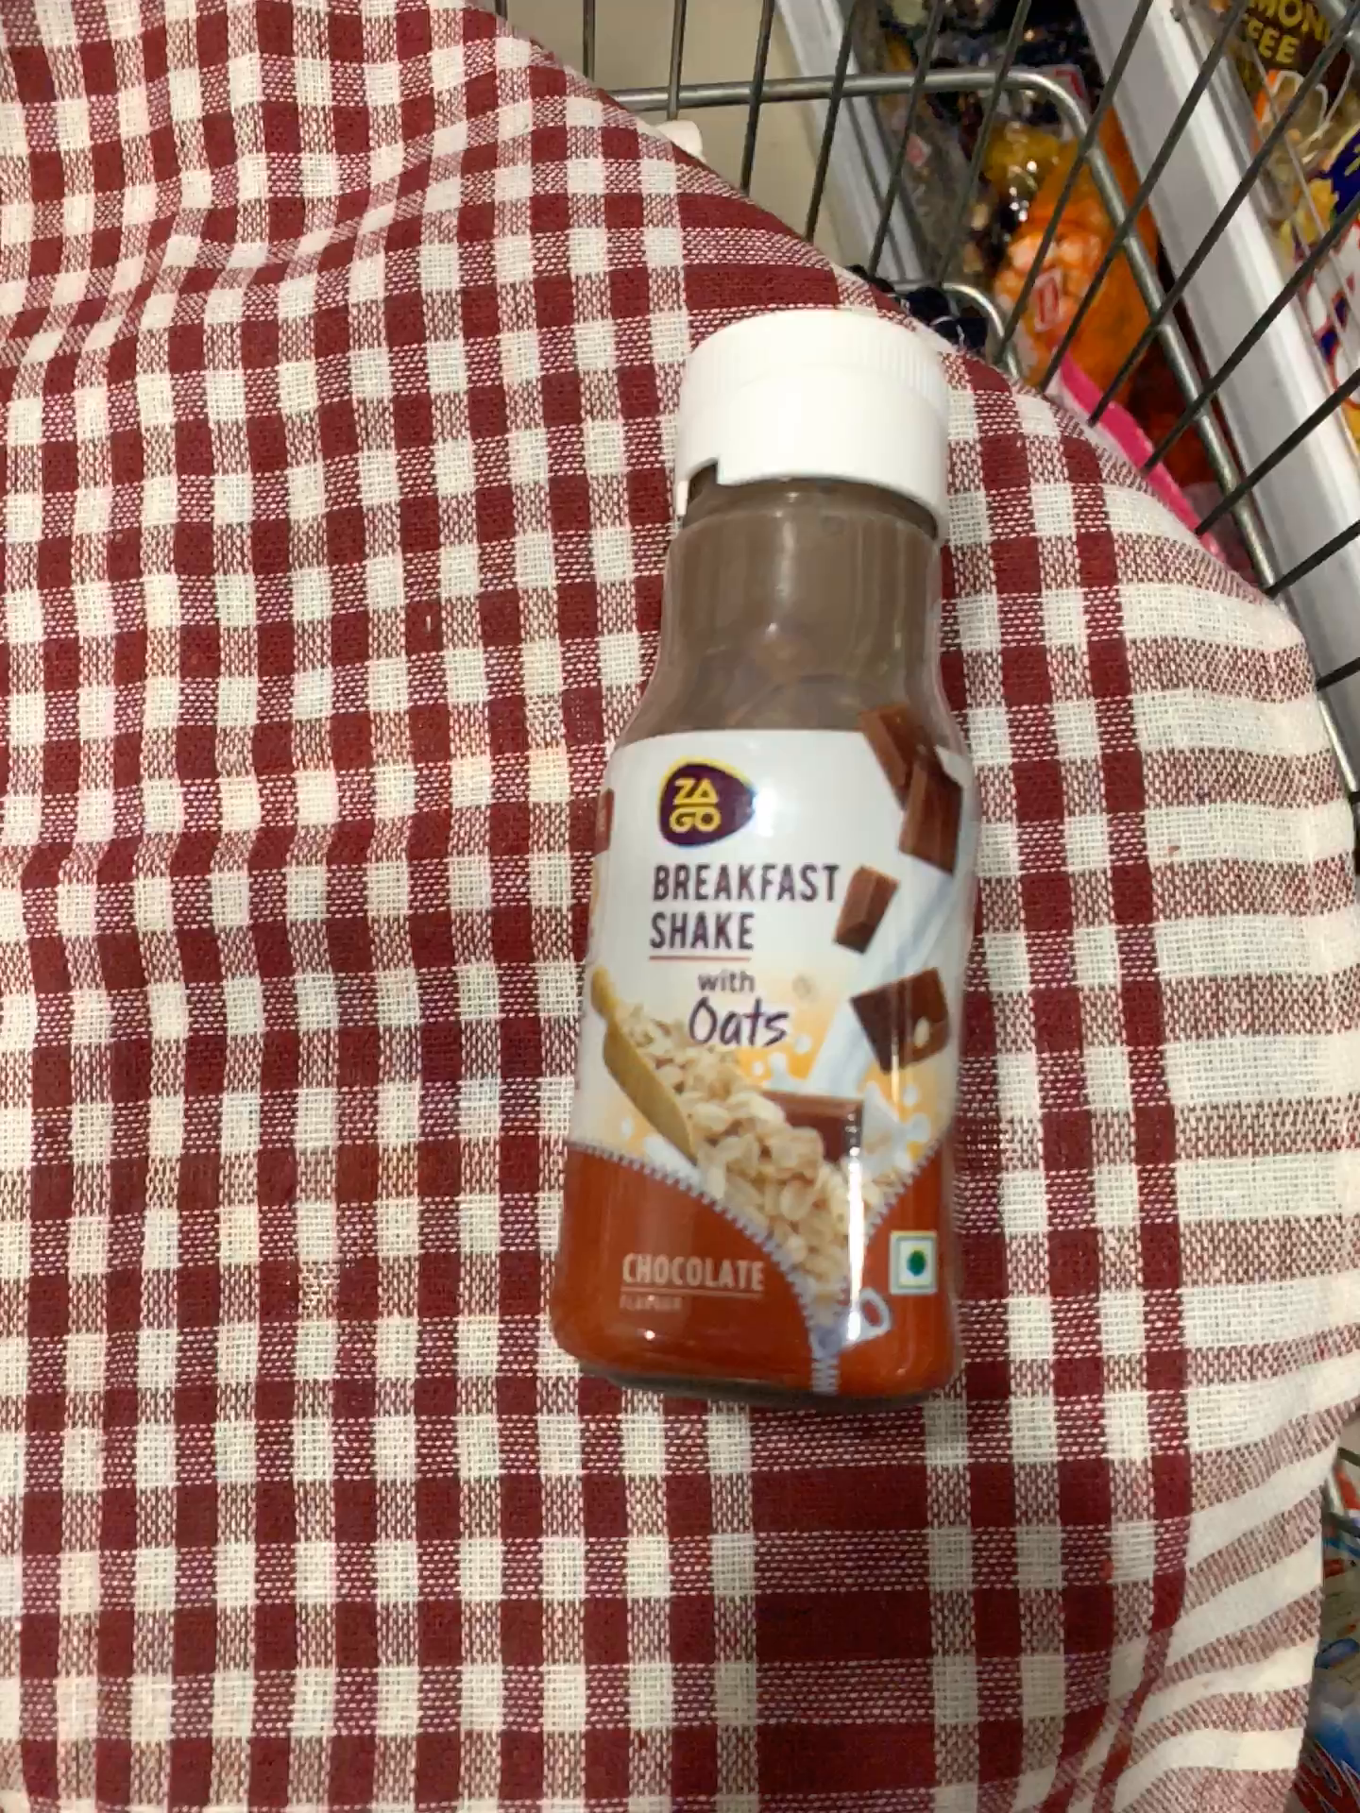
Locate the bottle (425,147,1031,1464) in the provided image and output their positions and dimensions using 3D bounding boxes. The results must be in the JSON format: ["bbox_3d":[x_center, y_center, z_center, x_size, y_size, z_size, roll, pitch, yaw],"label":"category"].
[{"bbox_3d":[0.010,-0.014,0.187,0.060,0.050,0.150,4,86,9],"label":"bottle"}]
